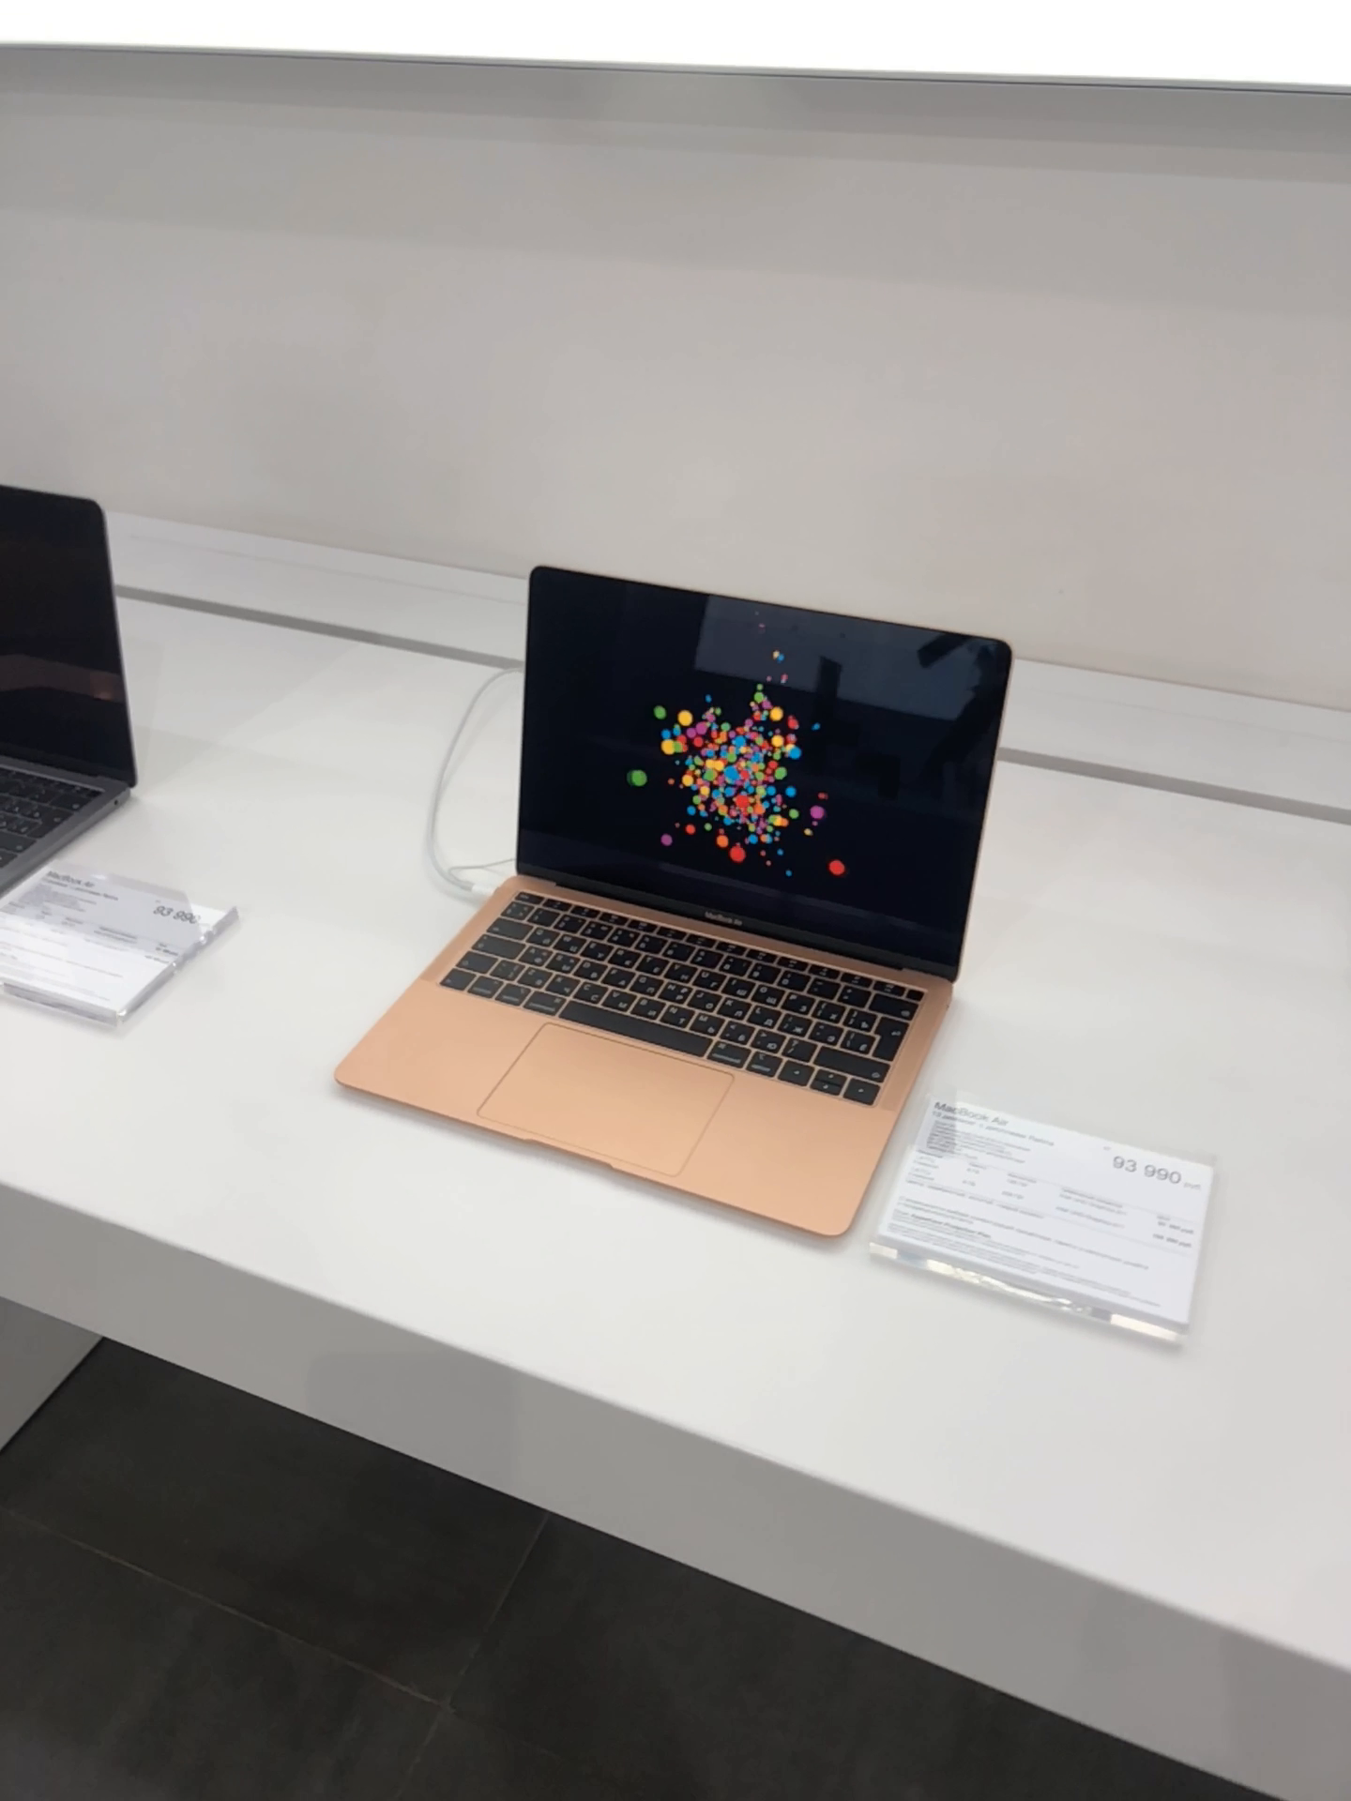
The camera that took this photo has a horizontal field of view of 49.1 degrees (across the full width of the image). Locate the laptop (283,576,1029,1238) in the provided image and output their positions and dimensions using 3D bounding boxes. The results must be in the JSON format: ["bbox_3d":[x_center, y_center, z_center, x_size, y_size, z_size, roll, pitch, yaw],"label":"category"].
[{"bbox_3d":[0.003,-0.017,0.815,0.297,0.188,0.265,14,38,21],"label":"laptop"}]

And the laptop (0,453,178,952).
[{"bbox_3d":[-0.569,-0.150,1.020,0.294,0.204,0.249,14,39,21],"label":"laptop"}]
